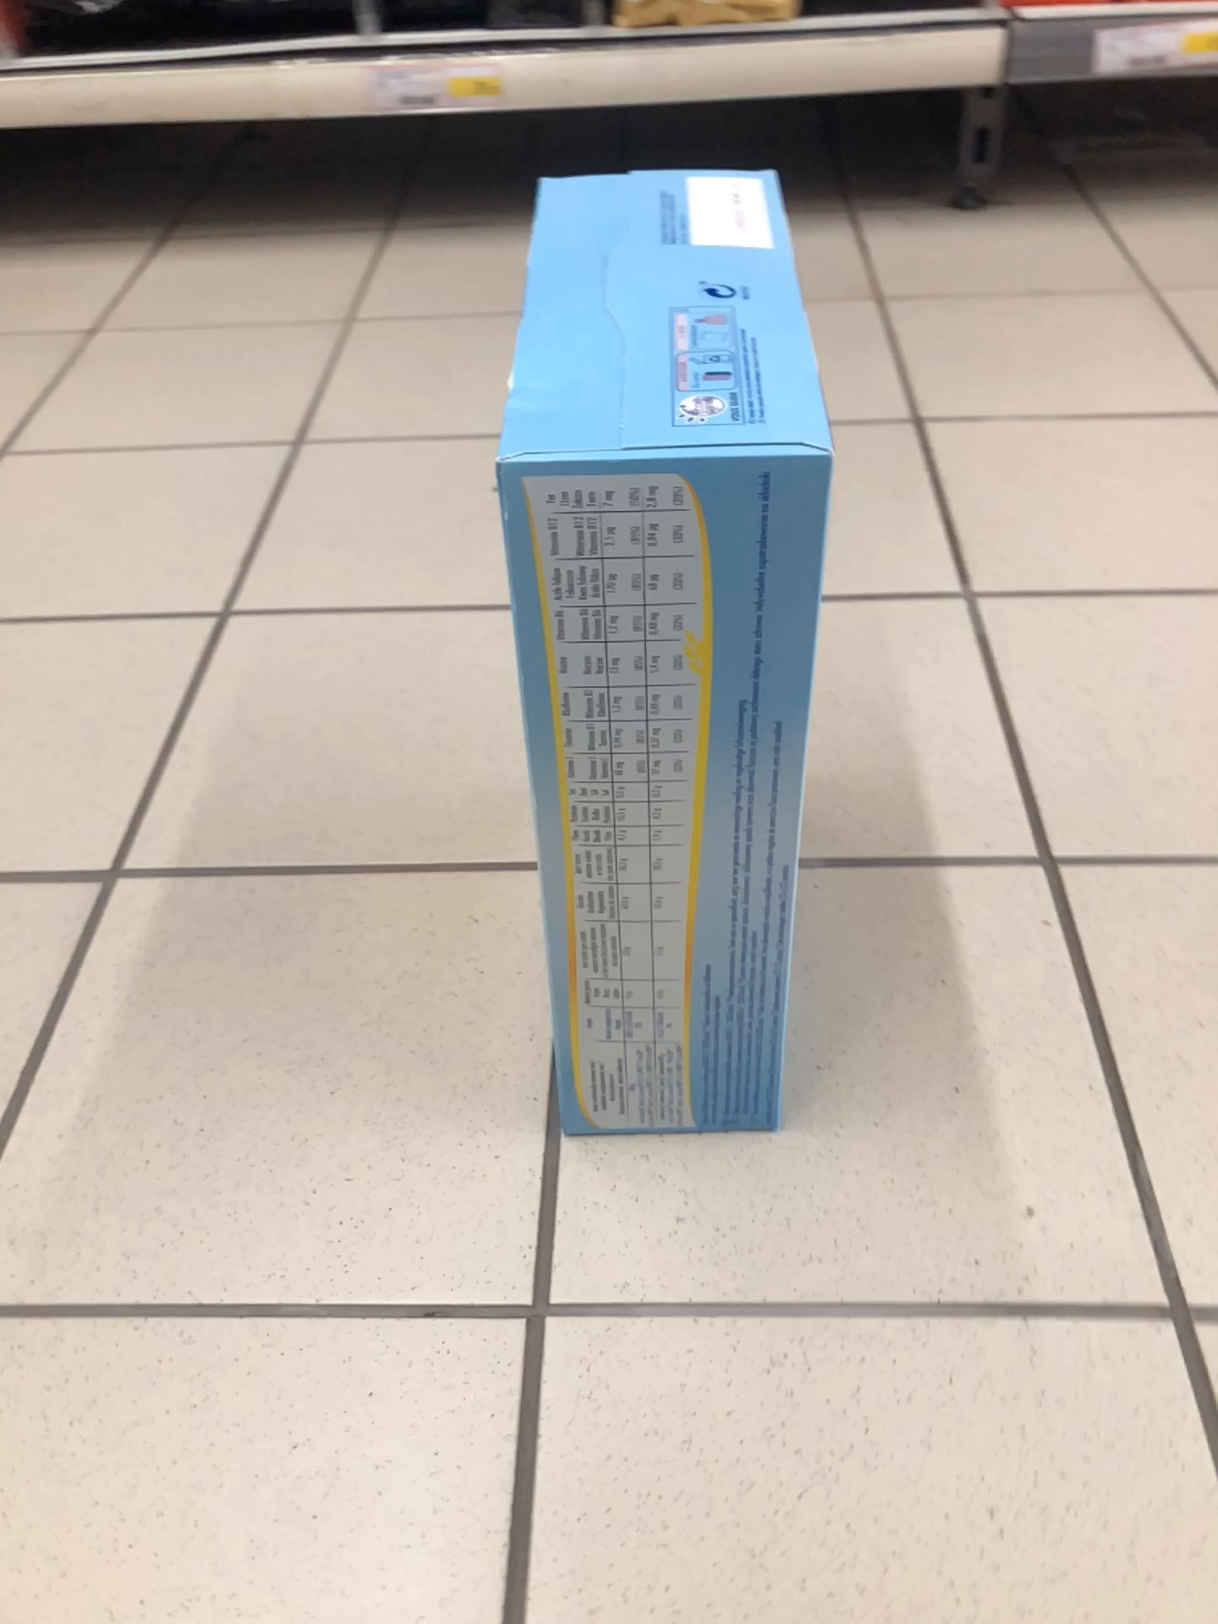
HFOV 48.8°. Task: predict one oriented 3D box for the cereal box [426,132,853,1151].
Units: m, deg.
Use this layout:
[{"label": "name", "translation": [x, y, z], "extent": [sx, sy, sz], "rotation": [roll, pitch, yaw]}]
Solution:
[{"label": "cereal box", "translation": [0.014, -0.050, 0.447], "extent": [0.090, 0.268, 0.201], "rotation": [0, 42, 2]}]
